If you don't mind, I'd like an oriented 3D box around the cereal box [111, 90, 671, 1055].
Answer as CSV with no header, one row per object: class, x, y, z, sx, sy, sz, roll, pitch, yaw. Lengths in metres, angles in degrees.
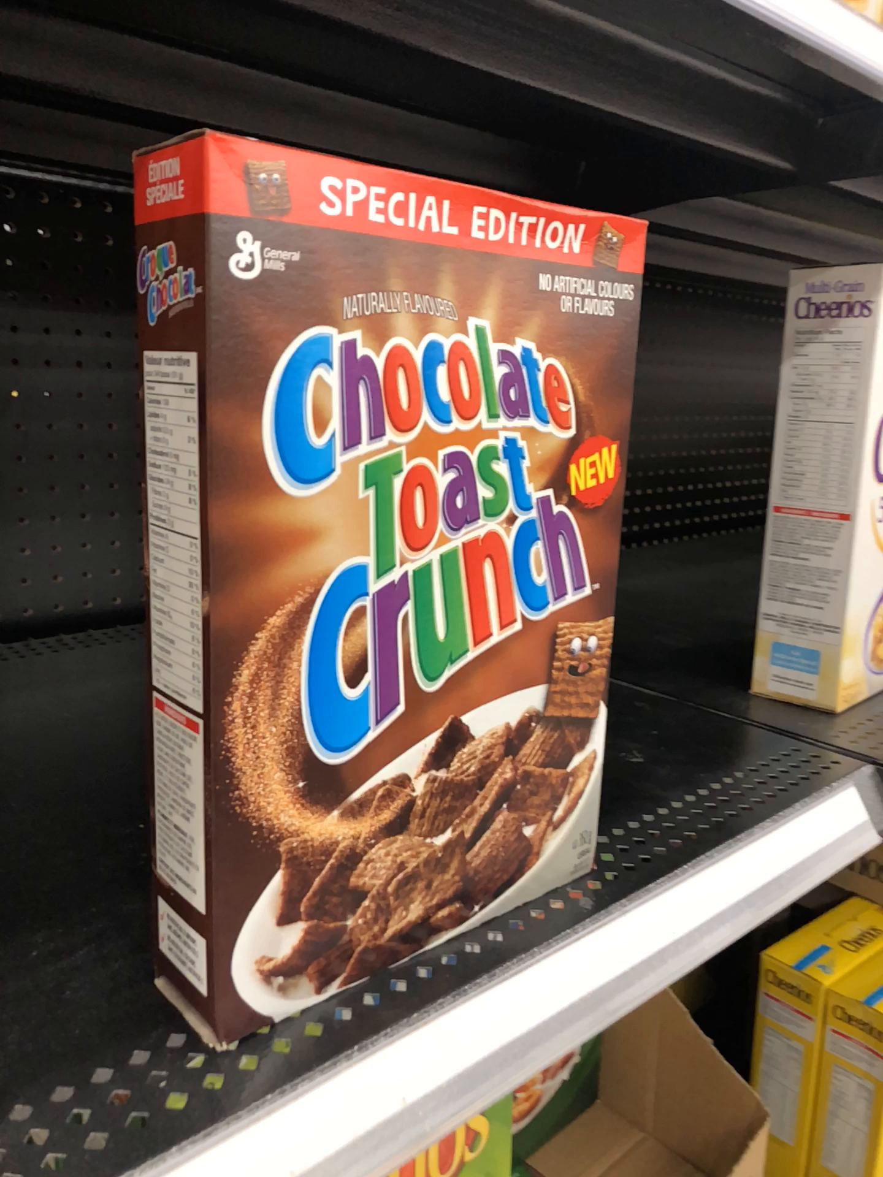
cereal box,-0.008,-0.008,0.351,0.200,0.269,0.050,-9,16,-42
